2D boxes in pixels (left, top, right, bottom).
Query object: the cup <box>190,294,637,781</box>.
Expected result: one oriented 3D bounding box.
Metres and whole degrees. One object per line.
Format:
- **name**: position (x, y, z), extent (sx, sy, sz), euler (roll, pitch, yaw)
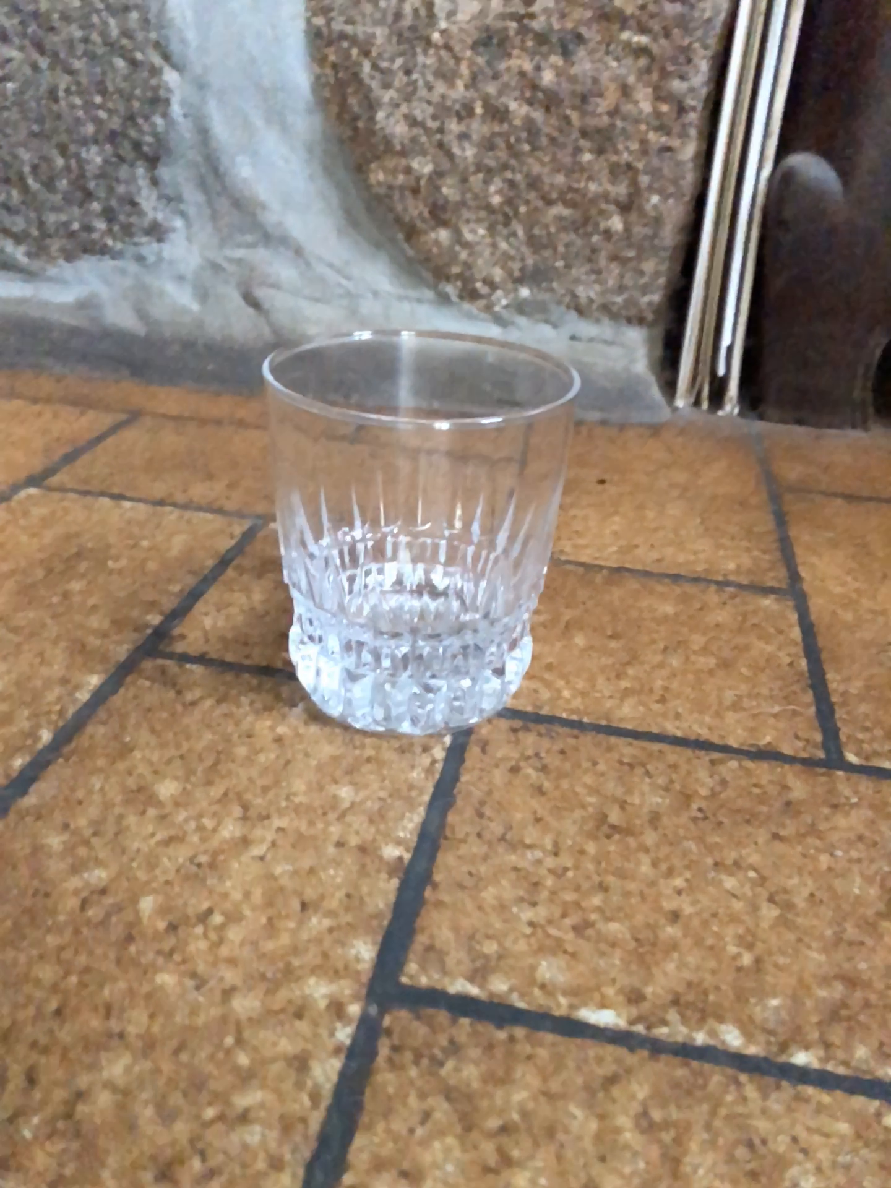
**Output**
- **cup**: position (-0.007, -0.021, 0.263), extent (0.080, 0.089, 0.081), euler (3, 28, -2)
